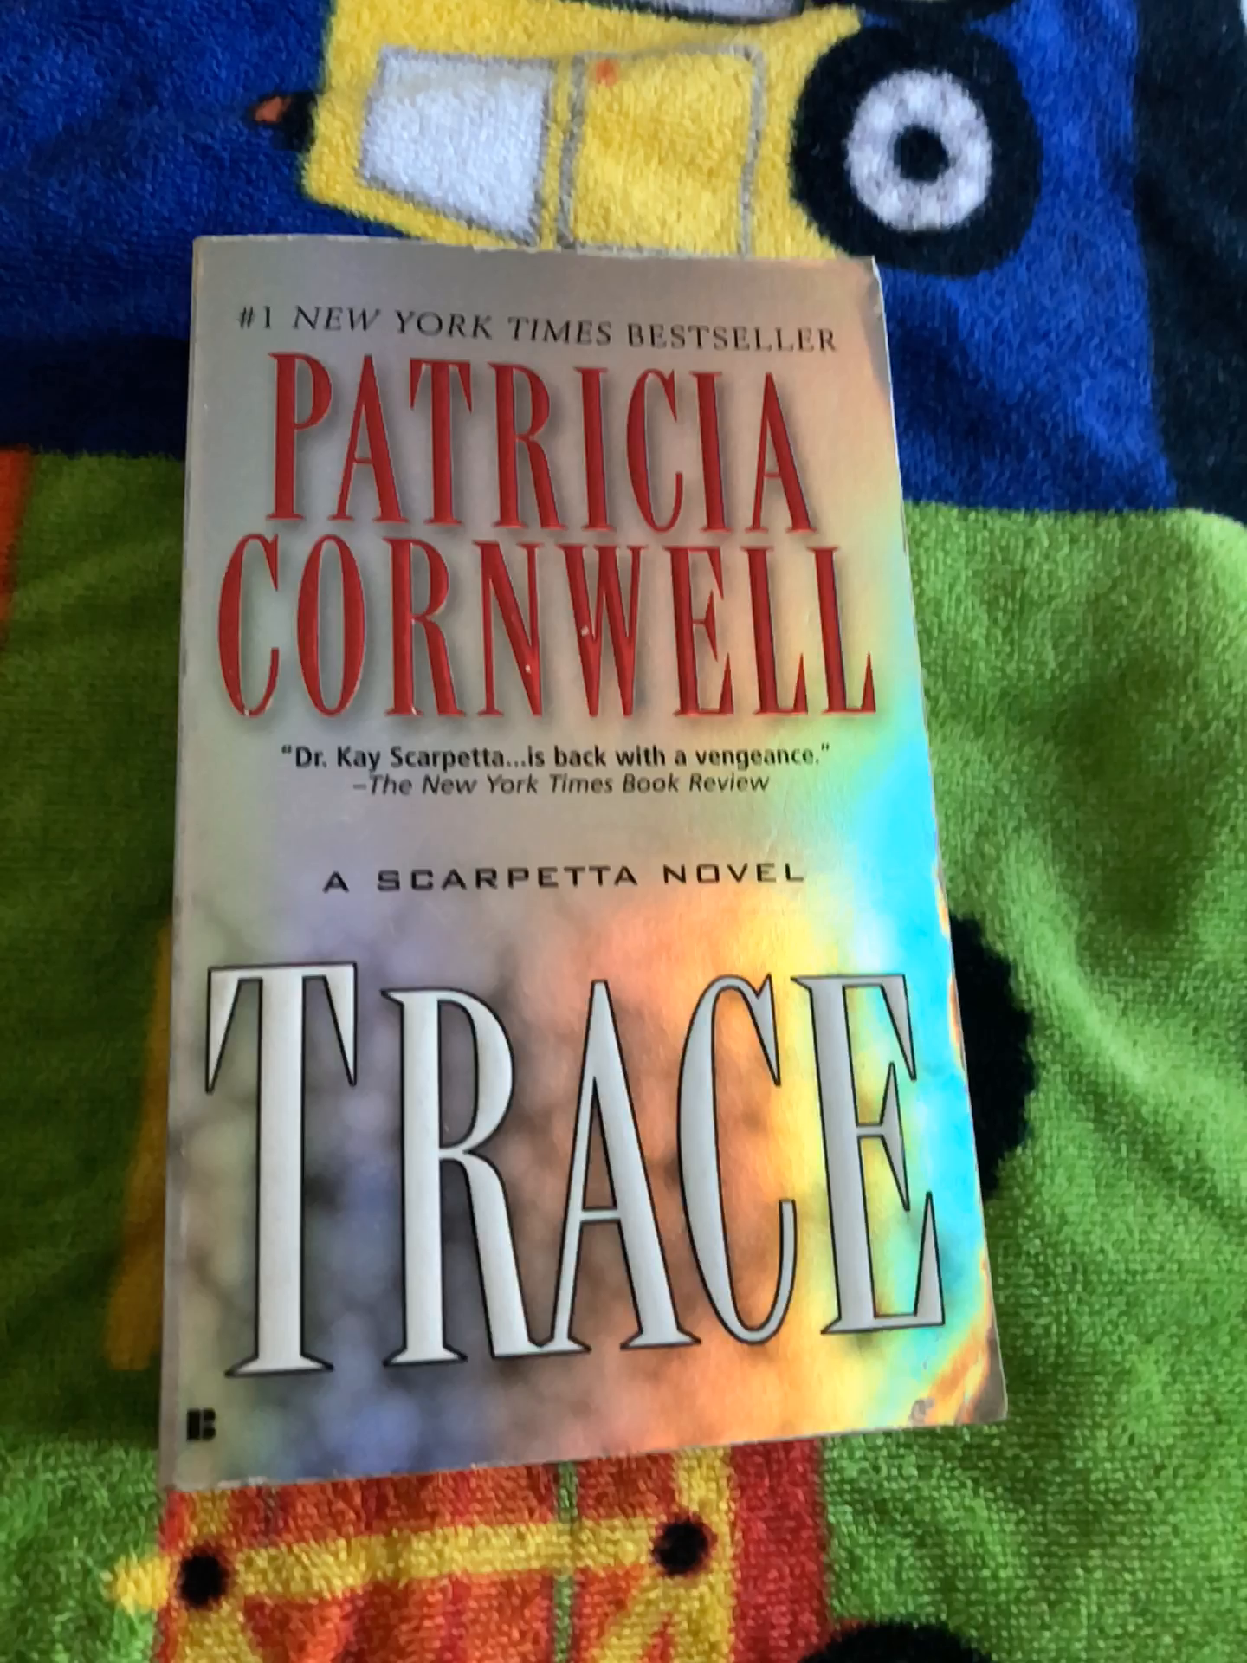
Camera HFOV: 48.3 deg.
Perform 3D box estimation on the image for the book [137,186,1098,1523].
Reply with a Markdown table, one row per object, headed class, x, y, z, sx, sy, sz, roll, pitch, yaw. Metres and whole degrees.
| class | x | y | z | sx | sy | sz | roll | pitch | yaw |
| --- | --- | --- | --- | --- | --- | --- | --- | --- | --- |
| book | -0.005 | -0.003 | 0.213 | 0.120 | 0.040 | 0.180 | 0 | 75 | -11 |
